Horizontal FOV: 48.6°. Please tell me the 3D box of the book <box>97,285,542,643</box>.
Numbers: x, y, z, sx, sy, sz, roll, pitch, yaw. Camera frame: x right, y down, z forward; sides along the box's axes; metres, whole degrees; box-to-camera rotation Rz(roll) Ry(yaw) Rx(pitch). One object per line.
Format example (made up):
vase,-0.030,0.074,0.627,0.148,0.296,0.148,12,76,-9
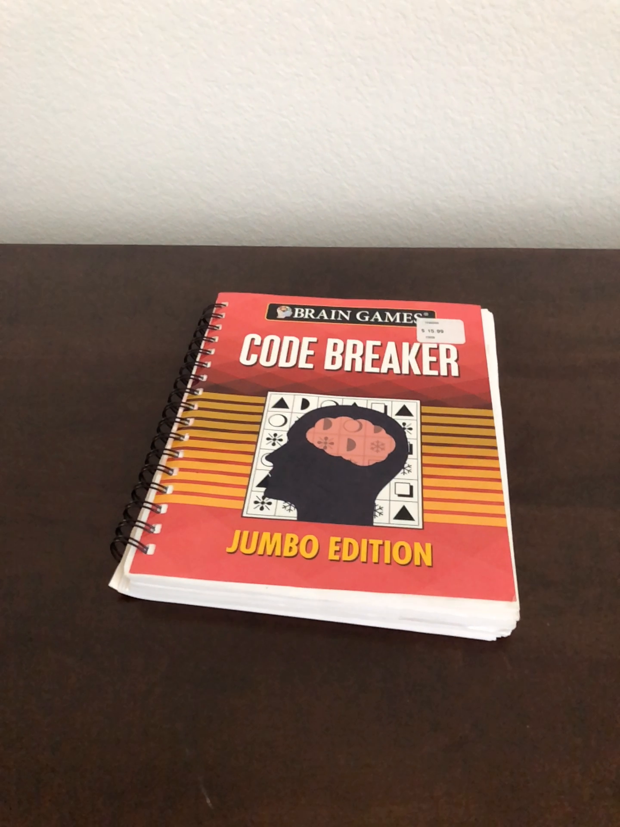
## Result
book,0.015,0.009,0.397,0.202,0.030,0.225,4,47,6
